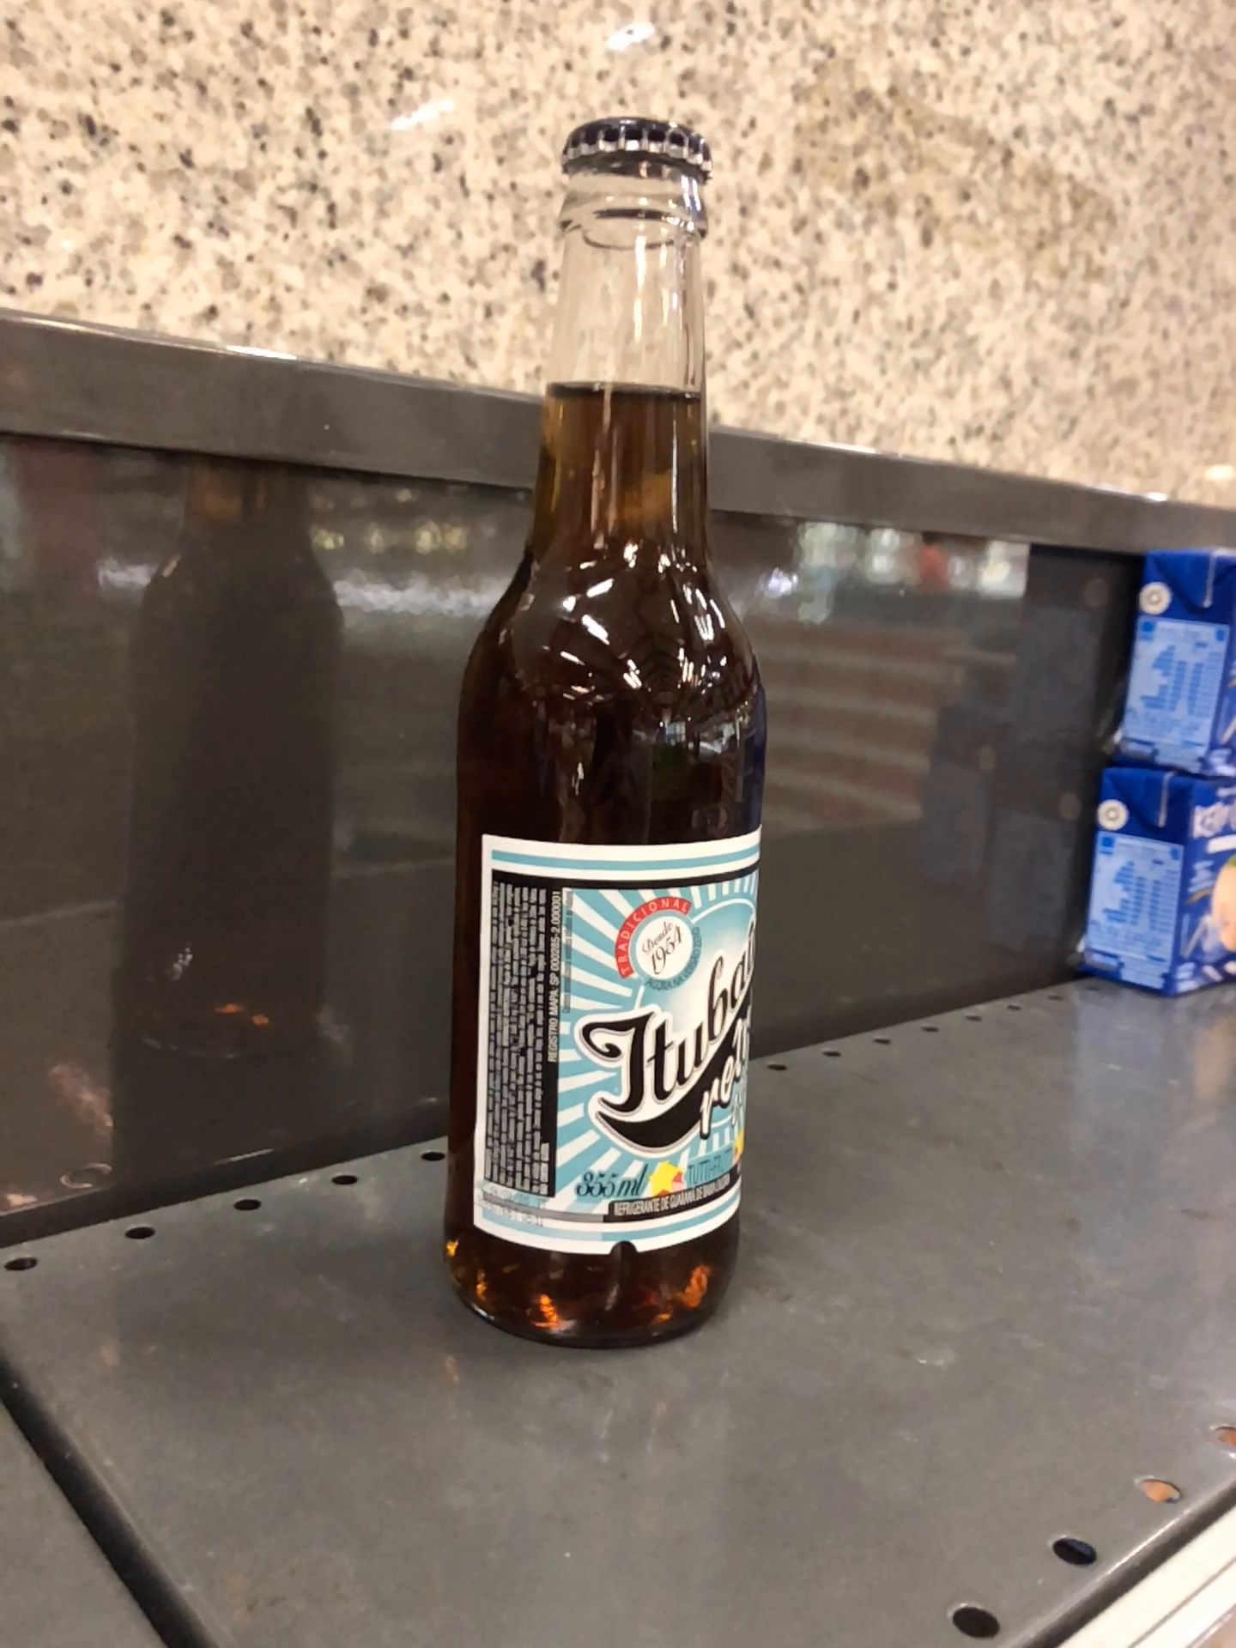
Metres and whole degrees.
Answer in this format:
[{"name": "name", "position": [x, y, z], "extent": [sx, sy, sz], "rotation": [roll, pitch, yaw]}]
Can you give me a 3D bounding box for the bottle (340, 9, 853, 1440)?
[{"name": "bottle", "position": [-0.006, -0.014, 0.271], "extent": [0.050, 0.239, 0.070], "rotation": [12, 12, 36]}]
